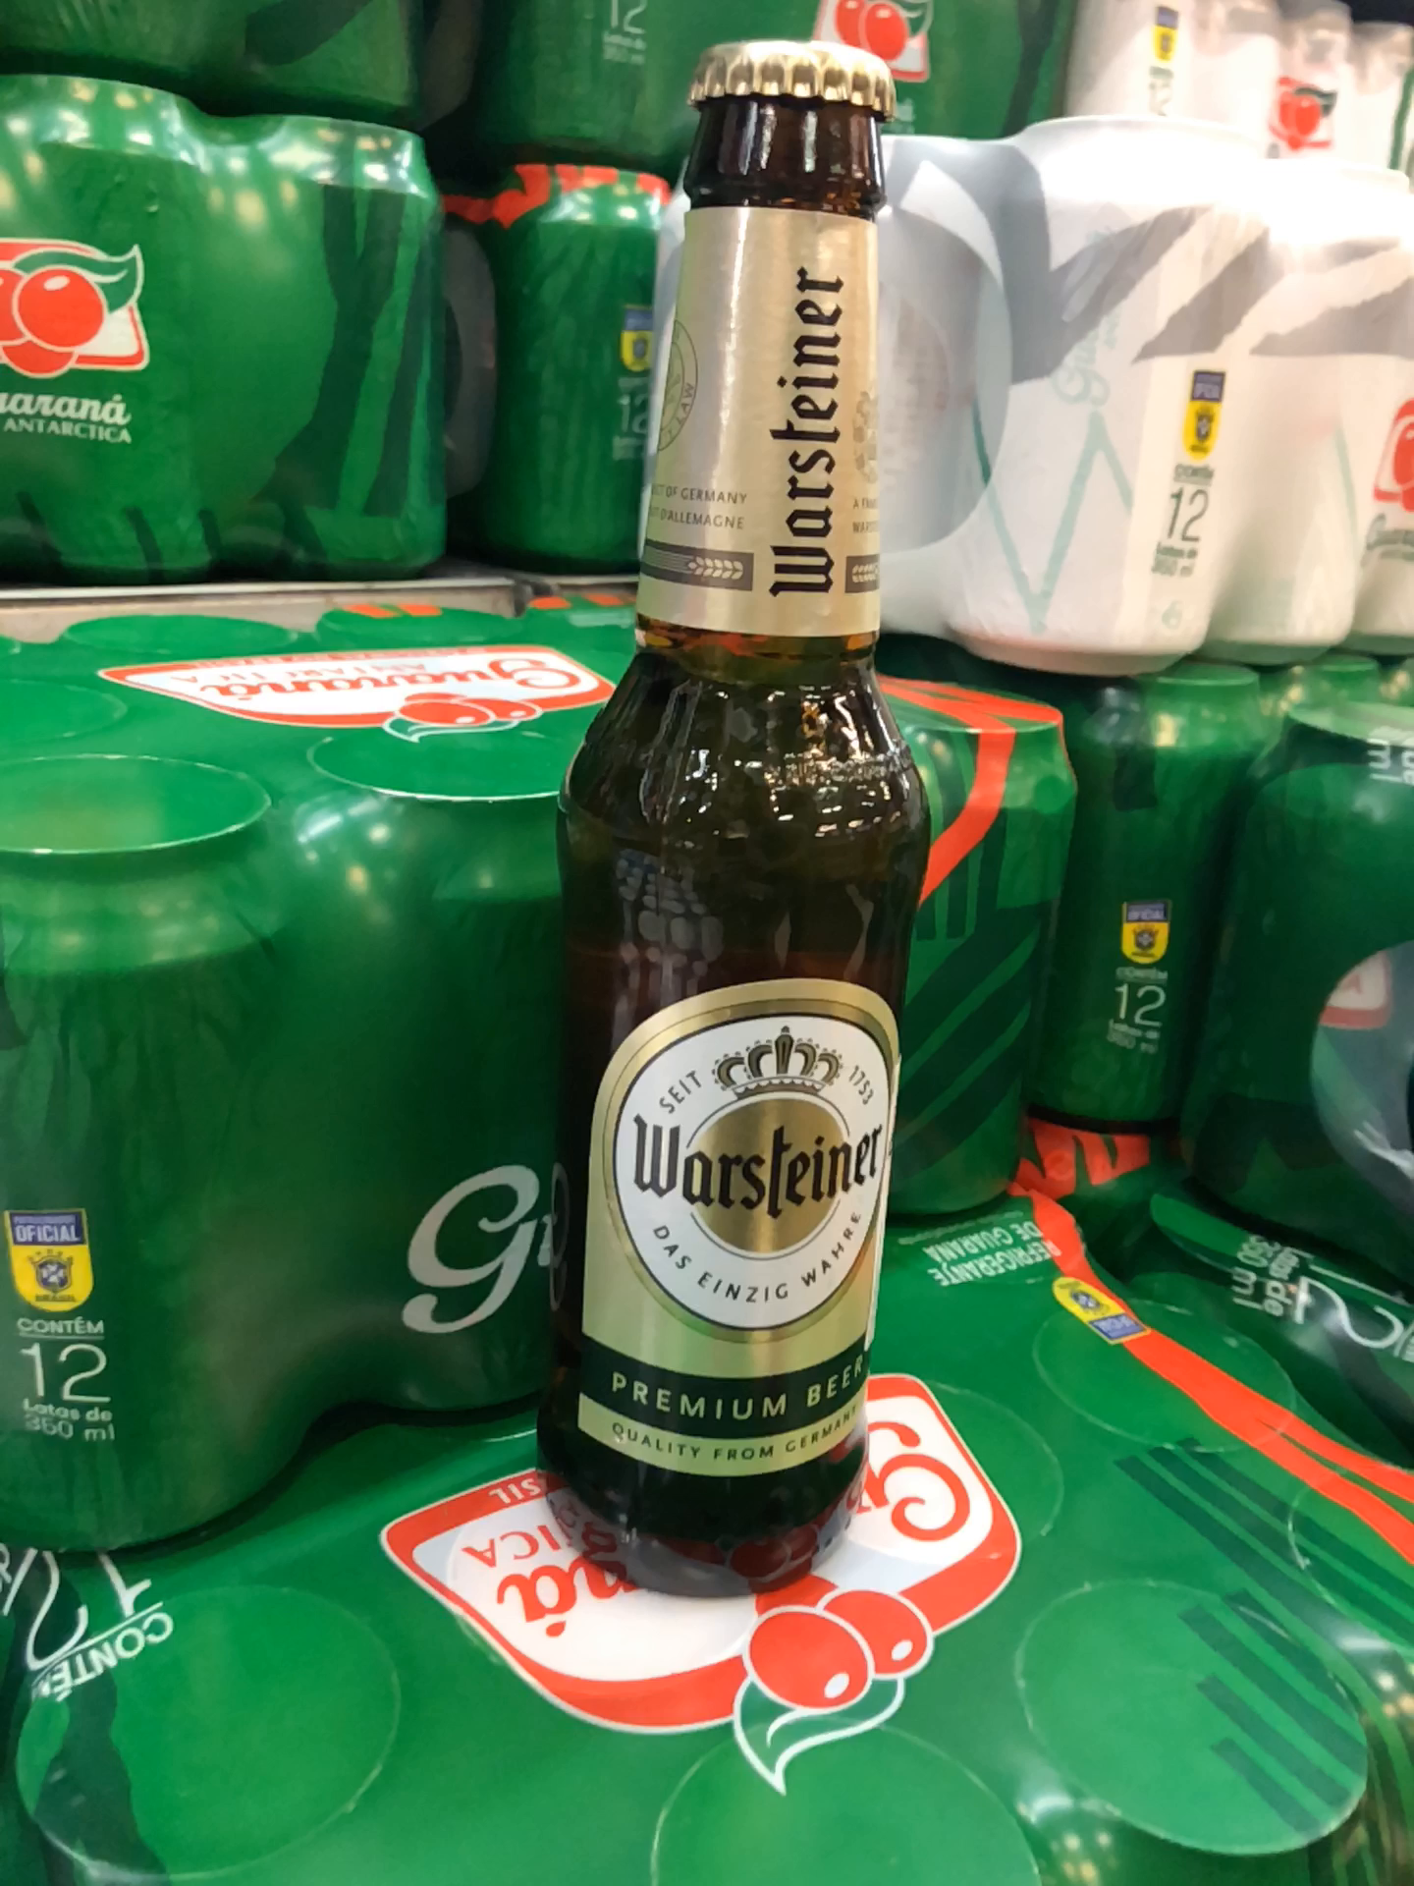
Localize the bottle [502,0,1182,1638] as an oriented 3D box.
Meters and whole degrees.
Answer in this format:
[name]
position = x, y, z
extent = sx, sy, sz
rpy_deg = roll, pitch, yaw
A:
[bottle]
position = 0.007, -0.010, 0.239
extent = 0.070, 0.229, 0.060
rpy_deg = 1, 19, -9
